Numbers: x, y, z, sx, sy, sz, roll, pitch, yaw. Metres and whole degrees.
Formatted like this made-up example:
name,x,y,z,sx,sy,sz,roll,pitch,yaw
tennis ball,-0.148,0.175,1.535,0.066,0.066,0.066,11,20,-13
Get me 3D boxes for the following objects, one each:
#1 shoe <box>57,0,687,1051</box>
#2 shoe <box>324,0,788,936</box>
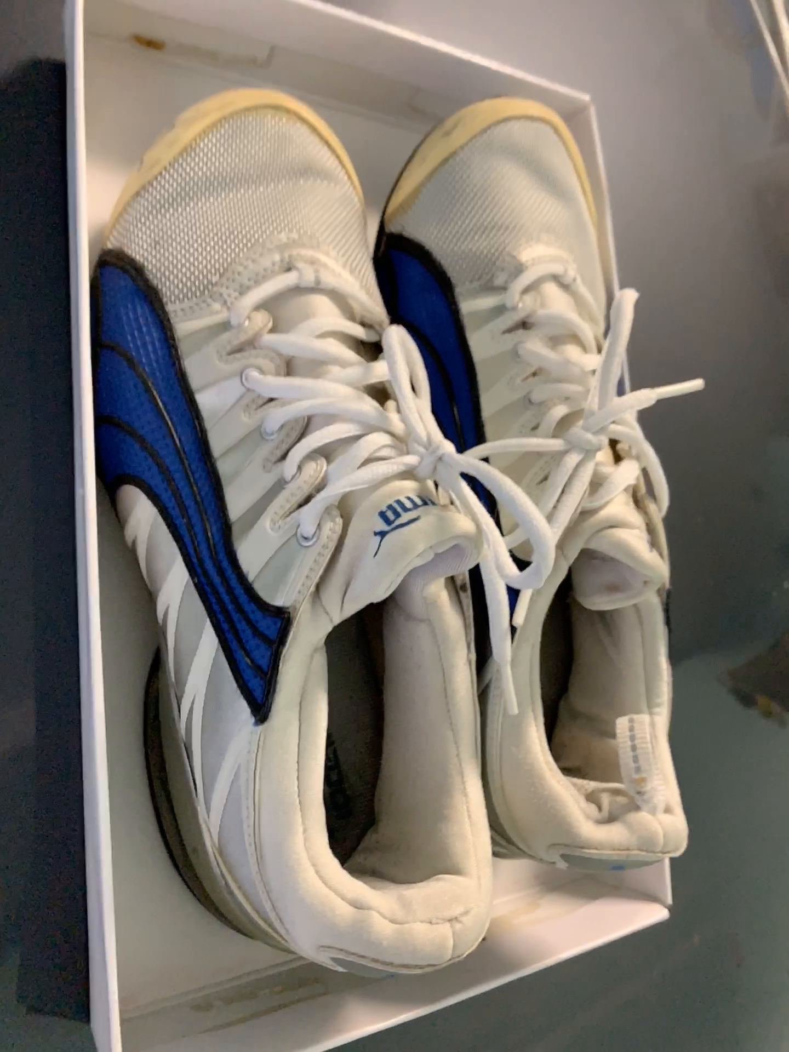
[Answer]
name,x,y,z,sx,sy,sz,roll,pitch,yaw
shoe,-0.021,-0.021,0.244,0.110,0.089,0.281,-3,76,-31
shoe,0.059,-0.029,0.289,0.110,0.089,0.281,1,74,-30
